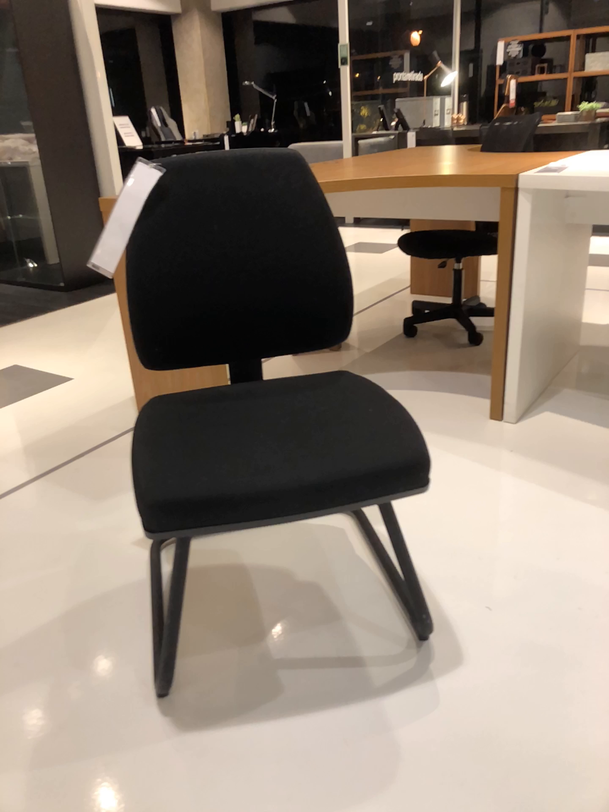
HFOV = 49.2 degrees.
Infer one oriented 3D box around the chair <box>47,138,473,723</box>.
[{"bbox_3d":[-0.081,-0.016,1.262,0.550,0.874,0.563,-9,23,-12],"label":"chair"}]
